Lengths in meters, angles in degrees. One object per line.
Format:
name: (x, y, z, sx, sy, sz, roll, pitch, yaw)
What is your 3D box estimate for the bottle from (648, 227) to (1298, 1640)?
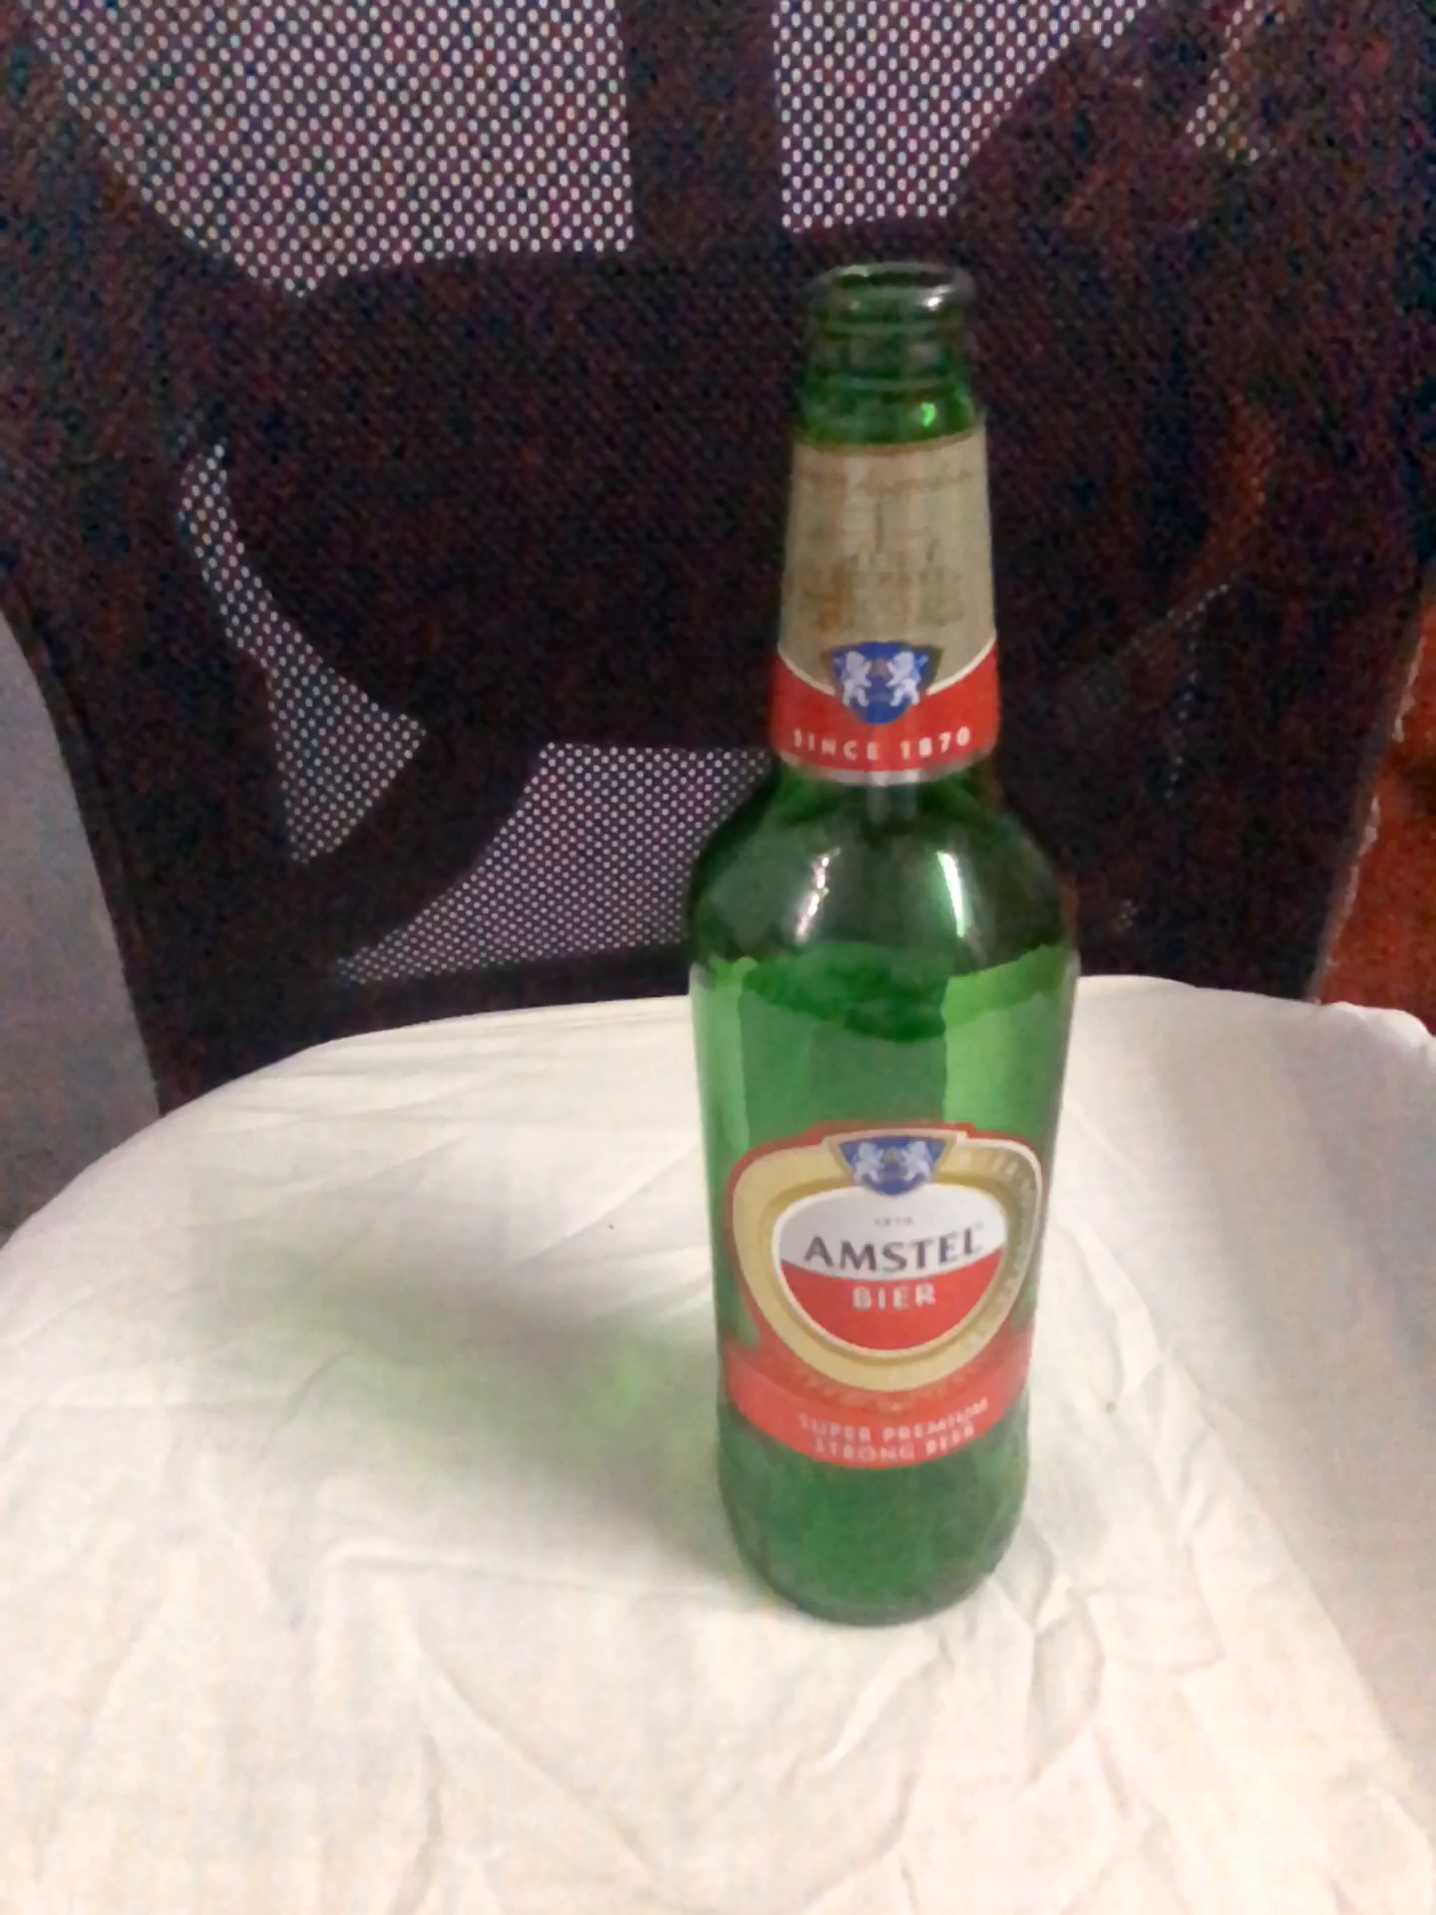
bottle: (0.031, 0.019, 0.300, 0.080, 0.279, 0.060, -2, 35, -3)
